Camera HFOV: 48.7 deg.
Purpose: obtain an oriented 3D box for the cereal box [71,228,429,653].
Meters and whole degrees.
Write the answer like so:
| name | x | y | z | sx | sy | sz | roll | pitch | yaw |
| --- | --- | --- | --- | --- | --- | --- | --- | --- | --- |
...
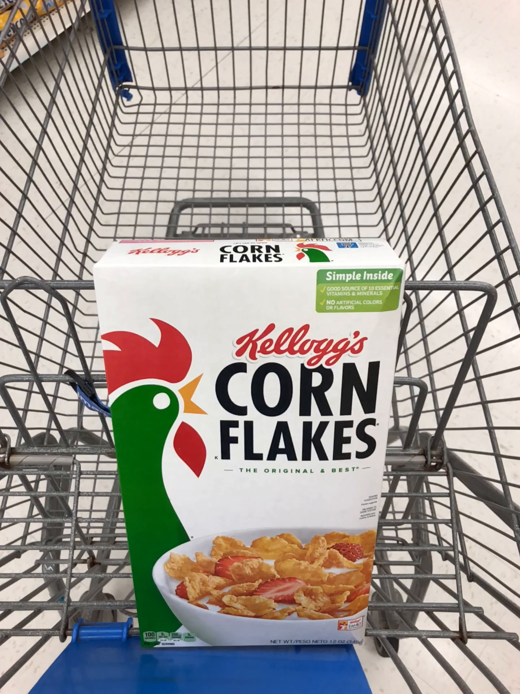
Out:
| name | x | y | z | sx | sy | sz | roll | pitch | yaw |
| --- | --- | --- | --- | --- | --- | --- | --- | --- | --- |
| cereal box | -0.005 | 0.087 | 0.441 | 0.210 | 0.340 | 0.070 | -1 | 25 | 0 |
